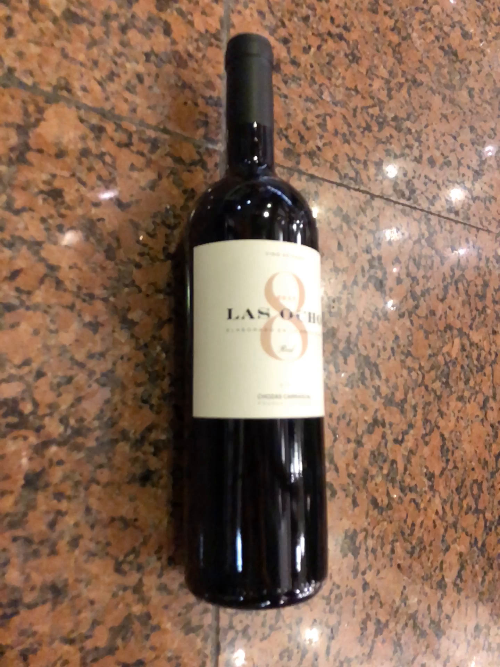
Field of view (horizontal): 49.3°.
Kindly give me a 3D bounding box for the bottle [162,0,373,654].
[{"bbox_3d":[0.007,-0.017,0.310,0.090,0.060,0.330,2,83,-34],"label":"bottle"}]
